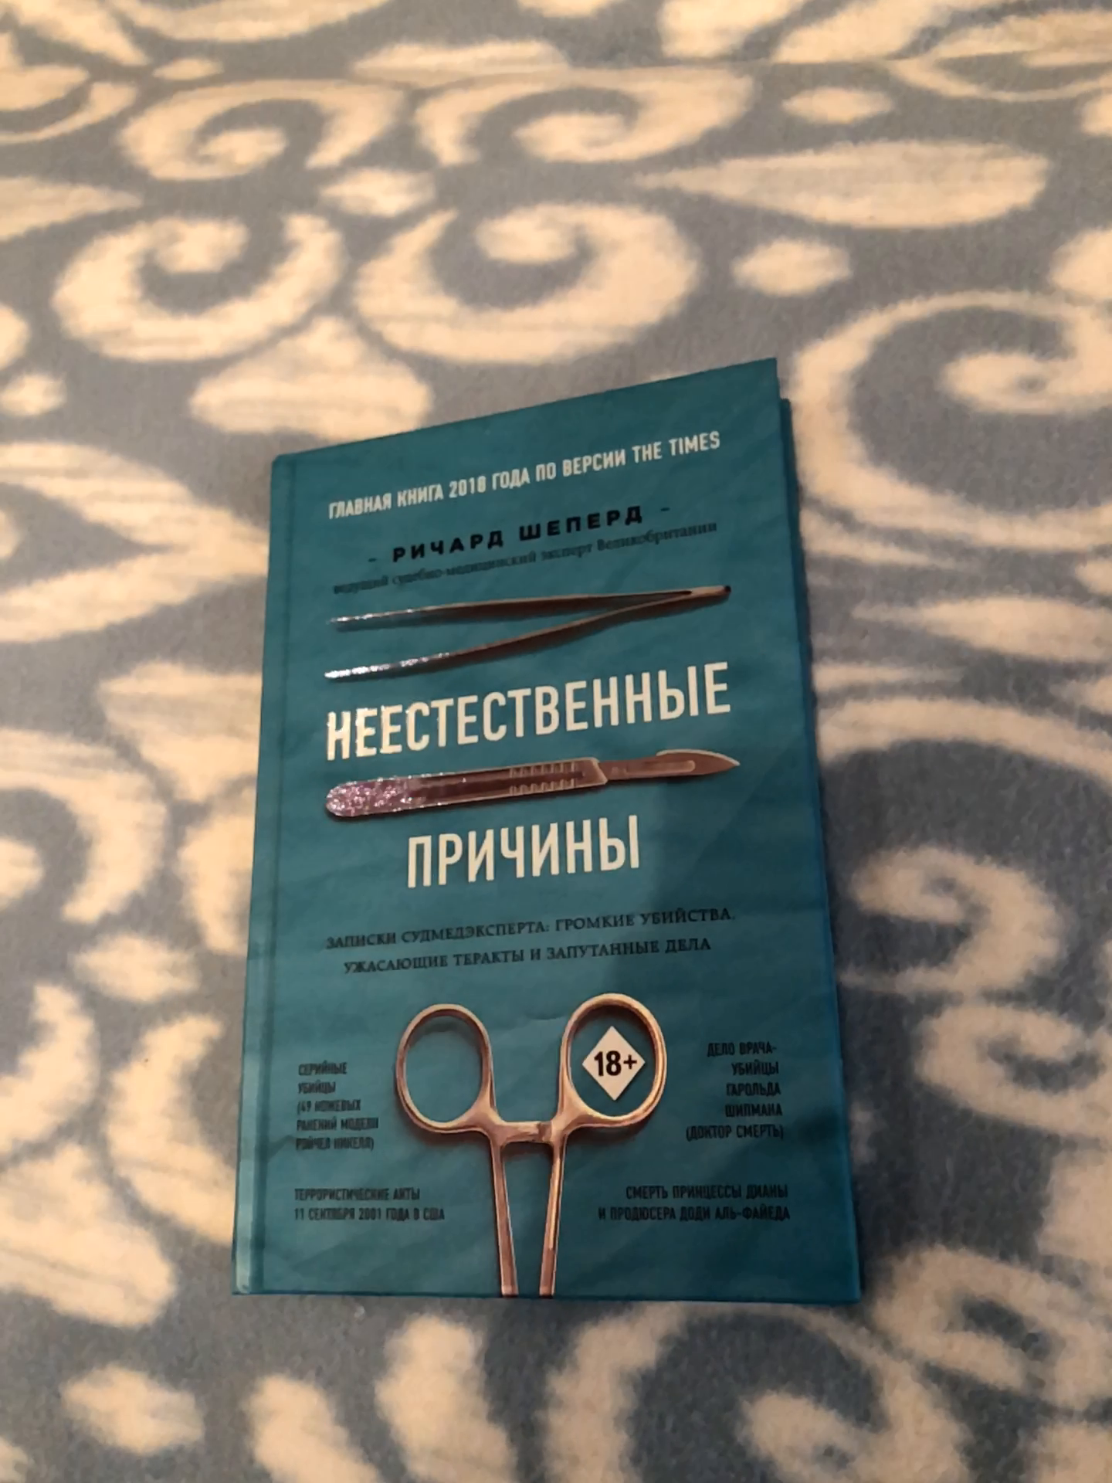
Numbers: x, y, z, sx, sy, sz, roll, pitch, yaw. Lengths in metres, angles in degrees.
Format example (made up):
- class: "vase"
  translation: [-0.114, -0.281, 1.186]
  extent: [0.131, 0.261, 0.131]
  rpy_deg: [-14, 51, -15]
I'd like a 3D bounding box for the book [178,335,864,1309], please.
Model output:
- class: "book"
  translation: [-0.013, 0.016, 0.301]
  extent: [0.149, 0.025, 0.218]
  rpy_deg: [-6, 72, 16]
